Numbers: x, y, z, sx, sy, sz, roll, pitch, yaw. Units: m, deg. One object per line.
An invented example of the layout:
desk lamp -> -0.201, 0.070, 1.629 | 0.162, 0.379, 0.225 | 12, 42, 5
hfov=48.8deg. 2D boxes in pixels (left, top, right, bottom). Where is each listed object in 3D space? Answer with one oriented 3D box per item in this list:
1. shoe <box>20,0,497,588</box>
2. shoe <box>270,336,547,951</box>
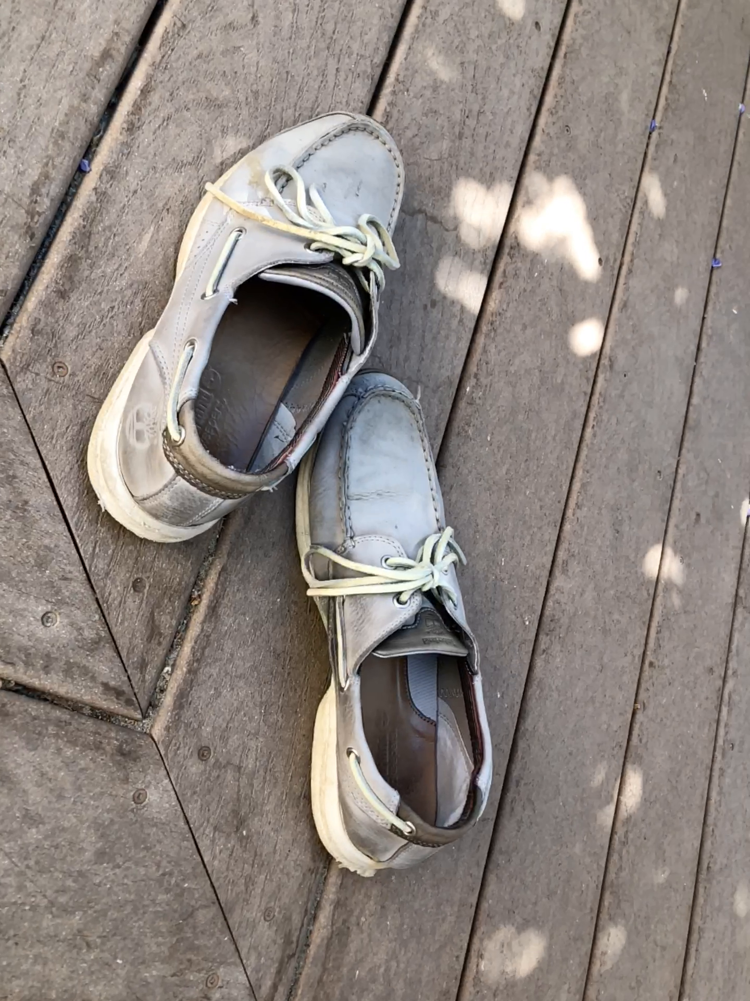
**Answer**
shoe -> -0.049, -0.118, 0.464 | 0.117, 0.099, 0.314 | 37, 62, -31
shoe -> 0.017, 0.075, 0.502 | 0.121, 0.109, 0.310 | 4, 82, -40
